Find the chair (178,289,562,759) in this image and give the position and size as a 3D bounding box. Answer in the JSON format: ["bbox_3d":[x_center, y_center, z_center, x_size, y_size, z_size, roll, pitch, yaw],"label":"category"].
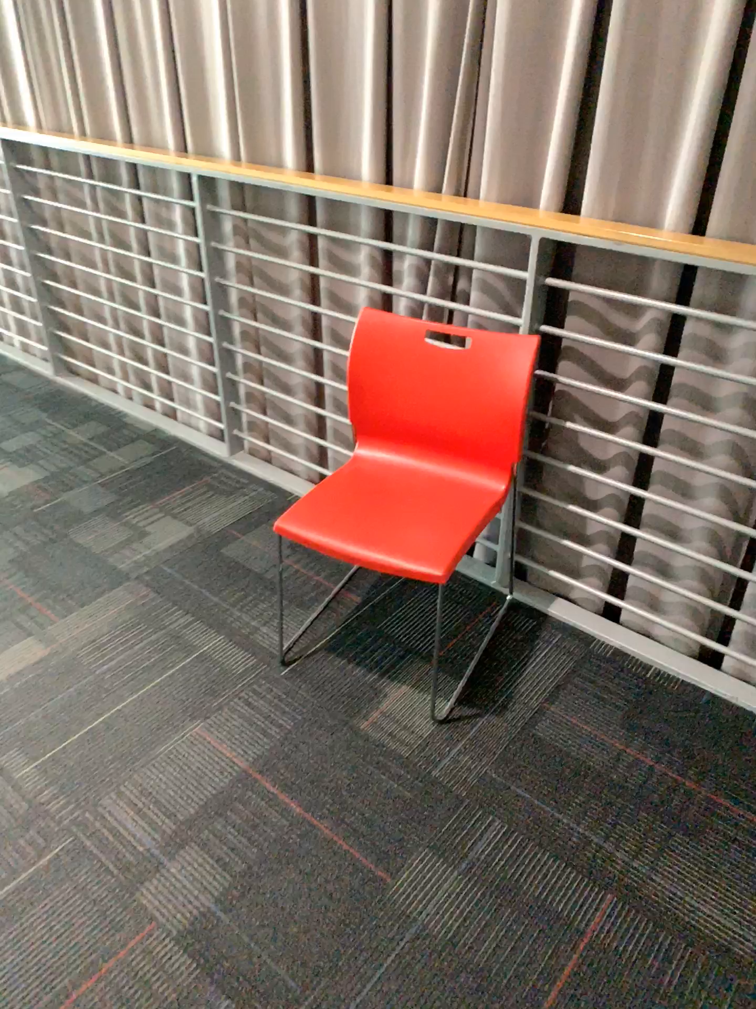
[{"bbox_3d":[0.017,0.013,1.989,0.631,0.854,0.663,16,39,24],"label":"chair"}]
